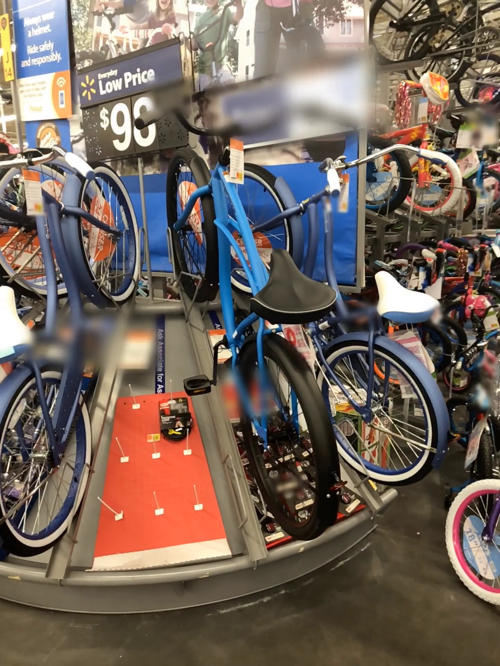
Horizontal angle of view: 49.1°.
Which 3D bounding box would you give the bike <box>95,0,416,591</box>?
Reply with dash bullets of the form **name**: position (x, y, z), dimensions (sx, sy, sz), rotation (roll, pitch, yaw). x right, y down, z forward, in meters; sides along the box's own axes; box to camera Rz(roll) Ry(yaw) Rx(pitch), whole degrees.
- **bike**: position (-0.071, -0.577, 1.864), dimensions (0.505, 1.120, 1.566), rotation (-6, 39, -25)
